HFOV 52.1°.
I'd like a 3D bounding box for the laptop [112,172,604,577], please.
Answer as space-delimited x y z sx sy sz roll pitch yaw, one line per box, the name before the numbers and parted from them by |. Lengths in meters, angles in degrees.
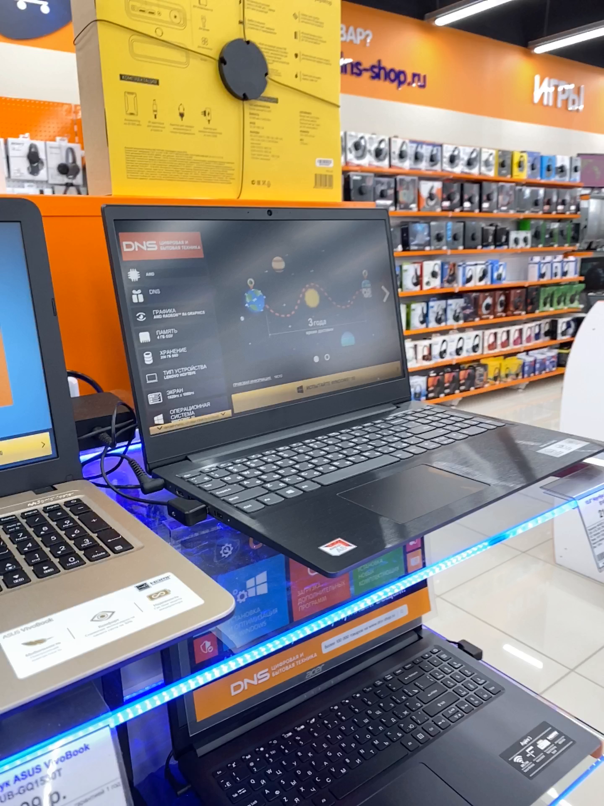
laptop | 0.065 -0.066 0.572 0.359 0.233 0.298 -12 17 -37
